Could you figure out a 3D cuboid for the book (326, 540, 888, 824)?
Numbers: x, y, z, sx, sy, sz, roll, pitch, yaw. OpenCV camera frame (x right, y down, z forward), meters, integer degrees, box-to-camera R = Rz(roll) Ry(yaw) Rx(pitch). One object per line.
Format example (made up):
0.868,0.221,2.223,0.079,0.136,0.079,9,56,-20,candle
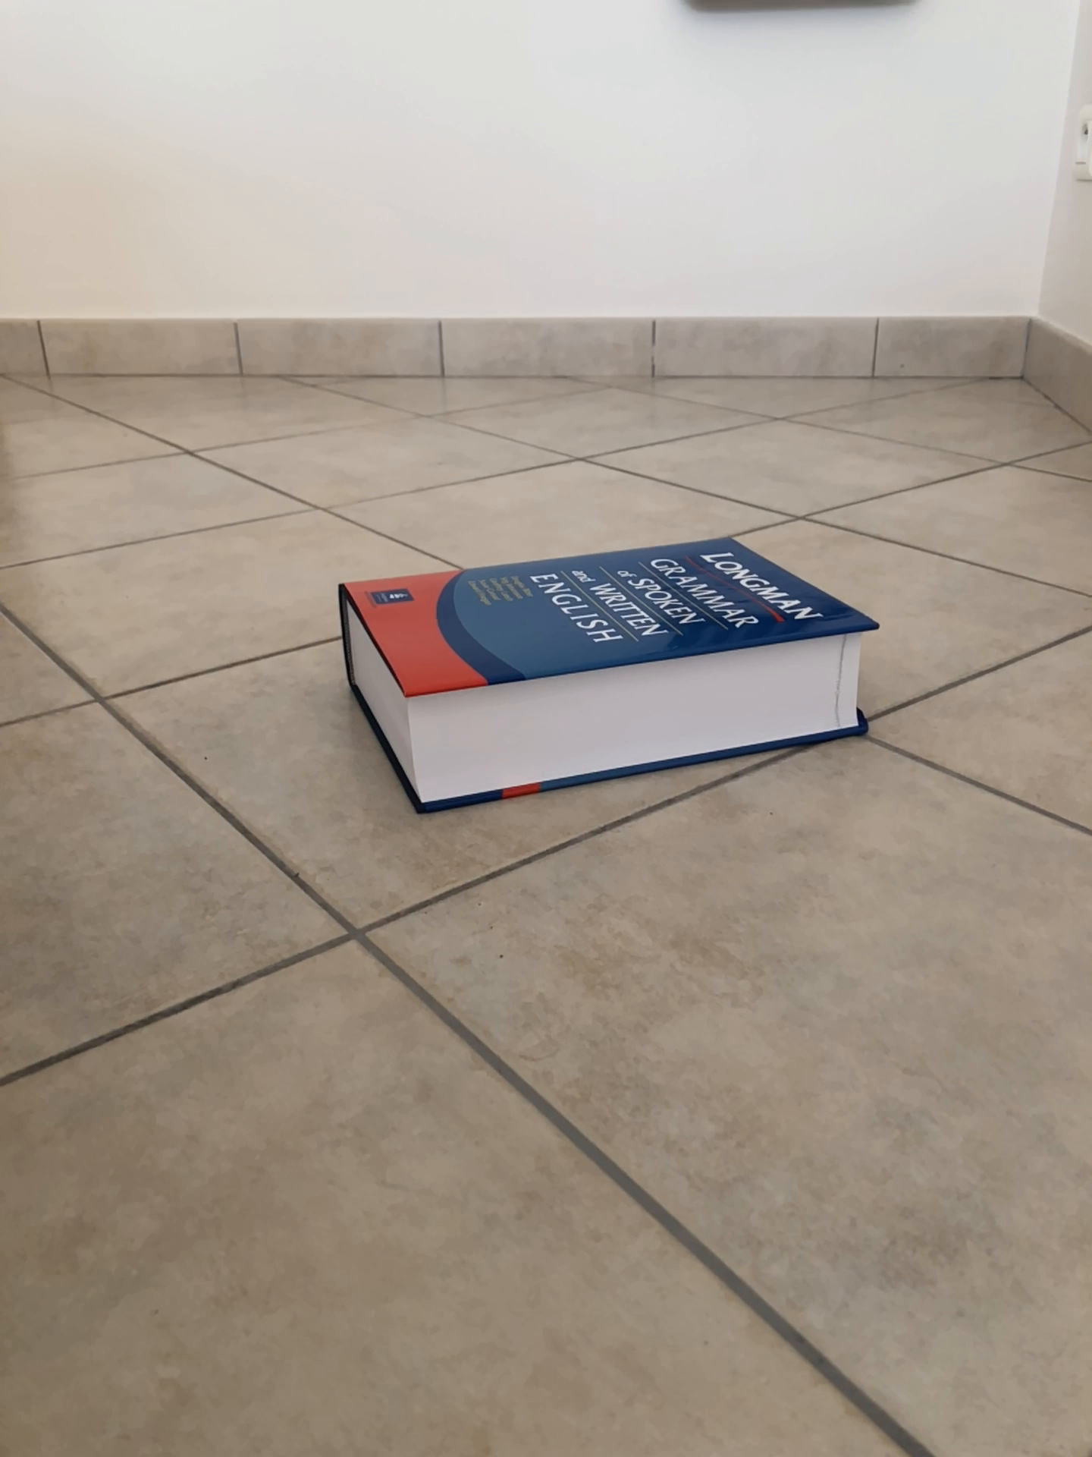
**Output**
0.023,-0.037,0.647,0.251,0.060,0.178,-9,26,-17,book
